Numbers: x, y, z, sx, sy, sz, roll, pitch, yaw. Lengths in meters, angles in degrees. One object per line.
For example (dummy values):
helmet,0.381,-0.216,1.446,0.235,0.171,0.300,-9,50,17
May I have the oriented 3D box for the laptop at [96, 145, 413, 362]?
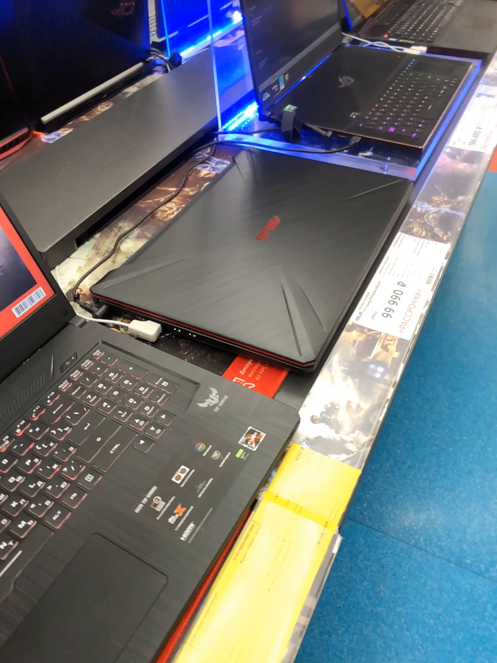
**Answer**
laptop,0.030,-0.132,0.696,0.252,0.002,0.390,19,49,21
